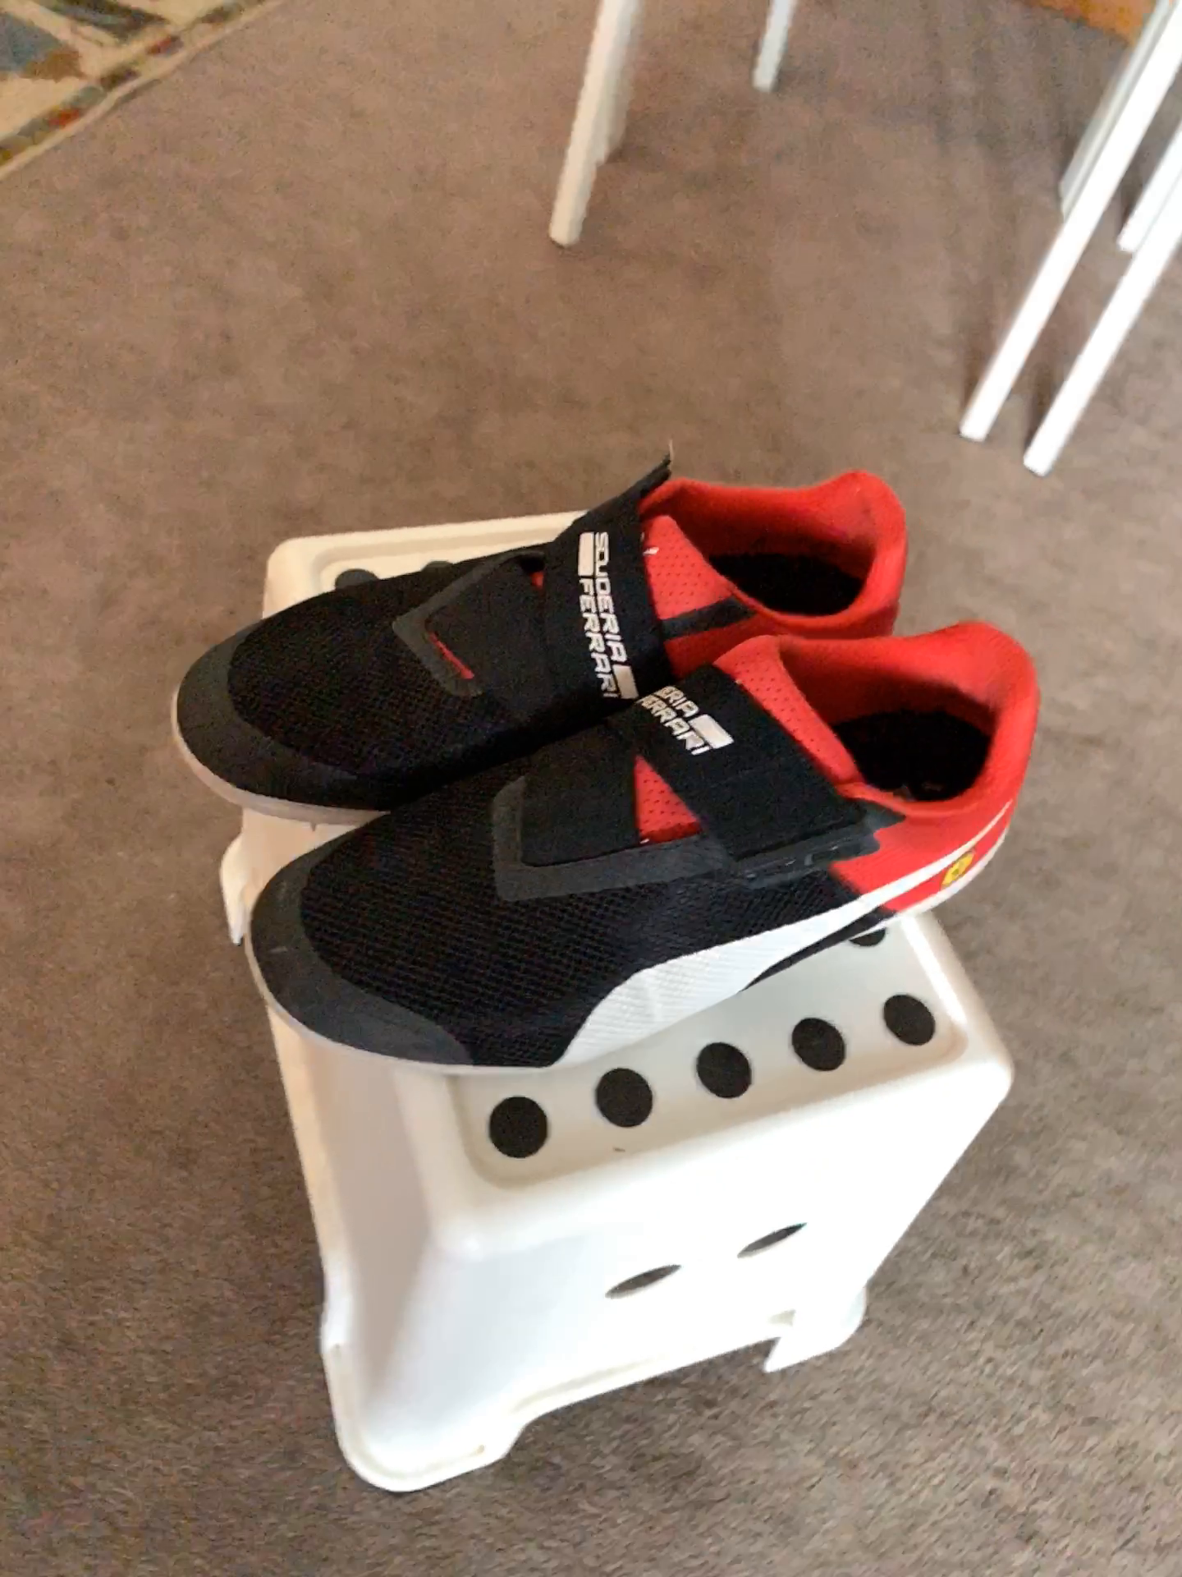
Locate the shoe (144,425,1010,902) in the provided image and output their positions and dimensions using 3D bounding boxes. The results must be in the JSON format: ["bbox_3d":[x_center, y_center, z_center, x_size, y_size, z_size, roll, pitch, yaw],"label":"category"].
[{"bbox_3d":[-0.005,-0.056,0.481,0.301,0.099,0.101,-12,58,-19],"label":"shoe"}]

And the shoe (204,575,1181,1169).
[{"bbox_3d":[0.034,0.020,0.427,0.301,0.099,0.111,-12,58,-19],"label":"shoe"}]
